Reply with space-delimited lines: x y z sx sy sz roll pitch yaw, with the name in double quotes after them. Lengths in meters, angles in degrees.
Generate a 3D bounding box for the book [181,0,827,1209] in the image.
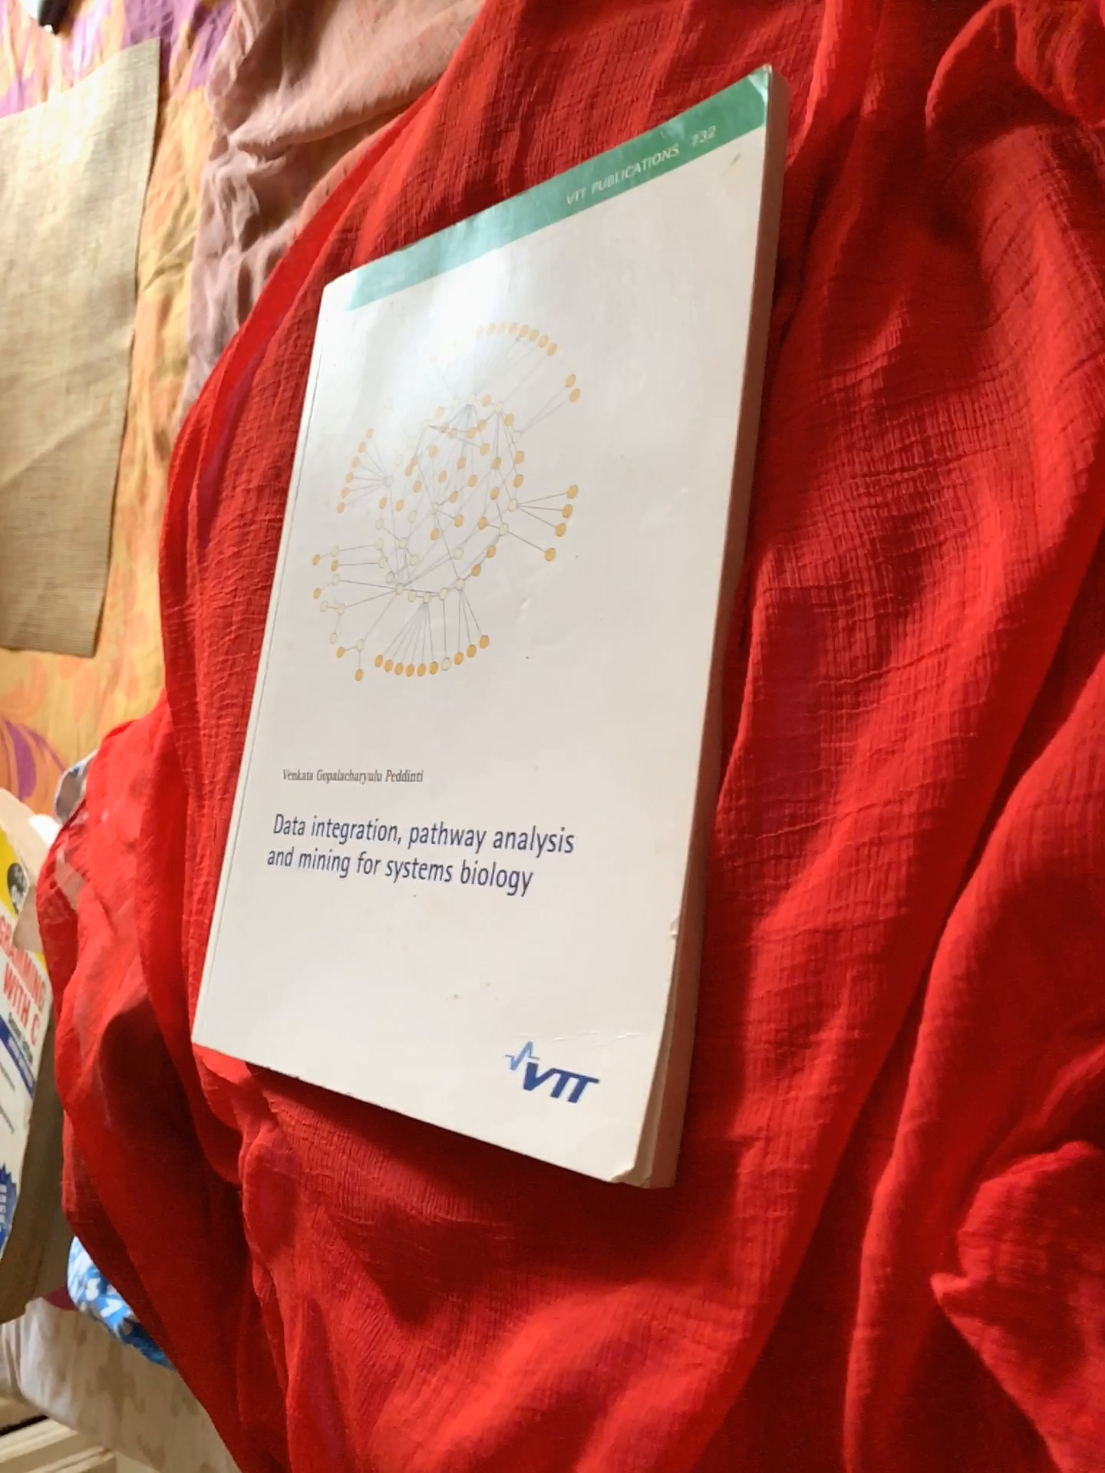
-0.022 -0.037 0.312 0.181 0.020 0.270 -3 75 45 "book"
